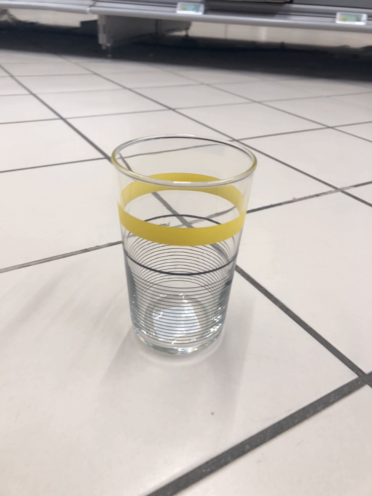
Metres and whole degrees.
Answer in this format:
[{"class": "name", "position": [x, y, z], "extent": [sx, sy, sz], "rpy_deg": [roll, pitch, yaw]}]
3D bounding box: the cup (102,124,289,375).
[{"class": "cup", "position": [-0.001, -0.001, 0.234], "extent": [0.079, 0.114, 0.077], "rpy_deg": [0, 31, 0]}]
